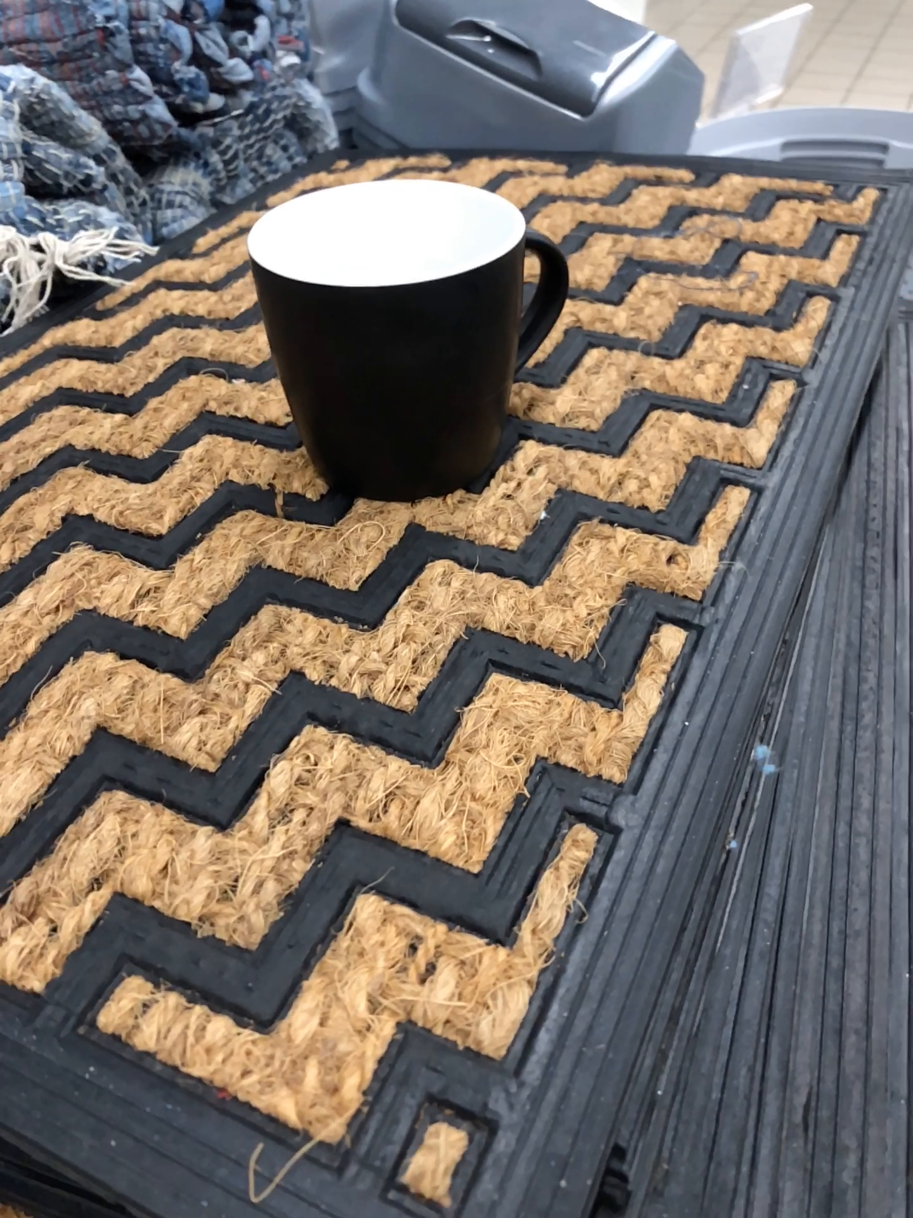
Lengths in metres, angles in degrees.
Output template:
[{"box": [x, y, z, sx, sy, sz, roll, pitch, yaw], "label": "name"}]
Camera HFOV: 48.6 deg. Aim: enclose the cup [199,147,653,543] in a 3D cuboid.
[{"box": [-0.010, -0.100, 0.363, 0.123, 0.081, 0.090, -24, 46, -23], "label": "cup"}]
